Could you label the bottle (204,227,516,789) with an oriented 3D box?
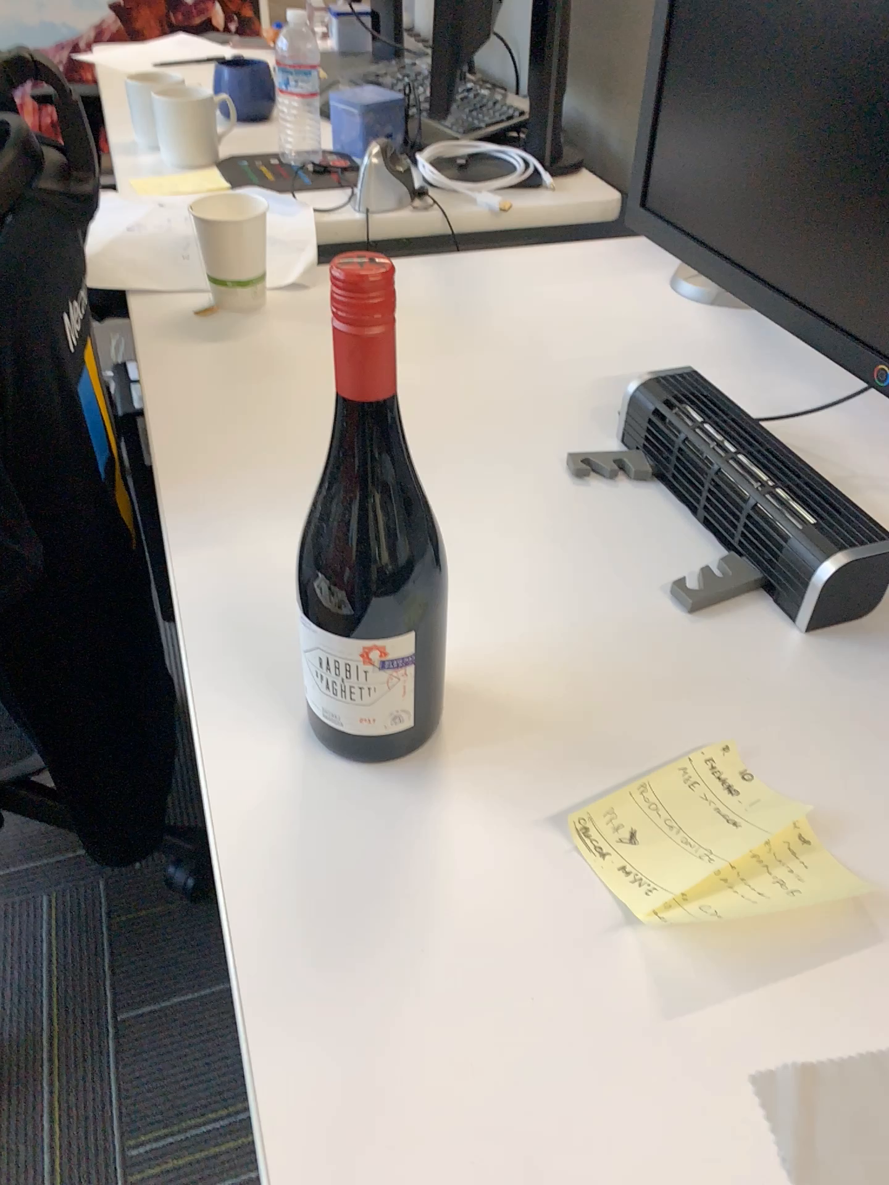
[{"bbox_3d":[-0.039,-0.036,0.497,0.097,0.270,0.110,19,43,19],"label":"bottle"}]
